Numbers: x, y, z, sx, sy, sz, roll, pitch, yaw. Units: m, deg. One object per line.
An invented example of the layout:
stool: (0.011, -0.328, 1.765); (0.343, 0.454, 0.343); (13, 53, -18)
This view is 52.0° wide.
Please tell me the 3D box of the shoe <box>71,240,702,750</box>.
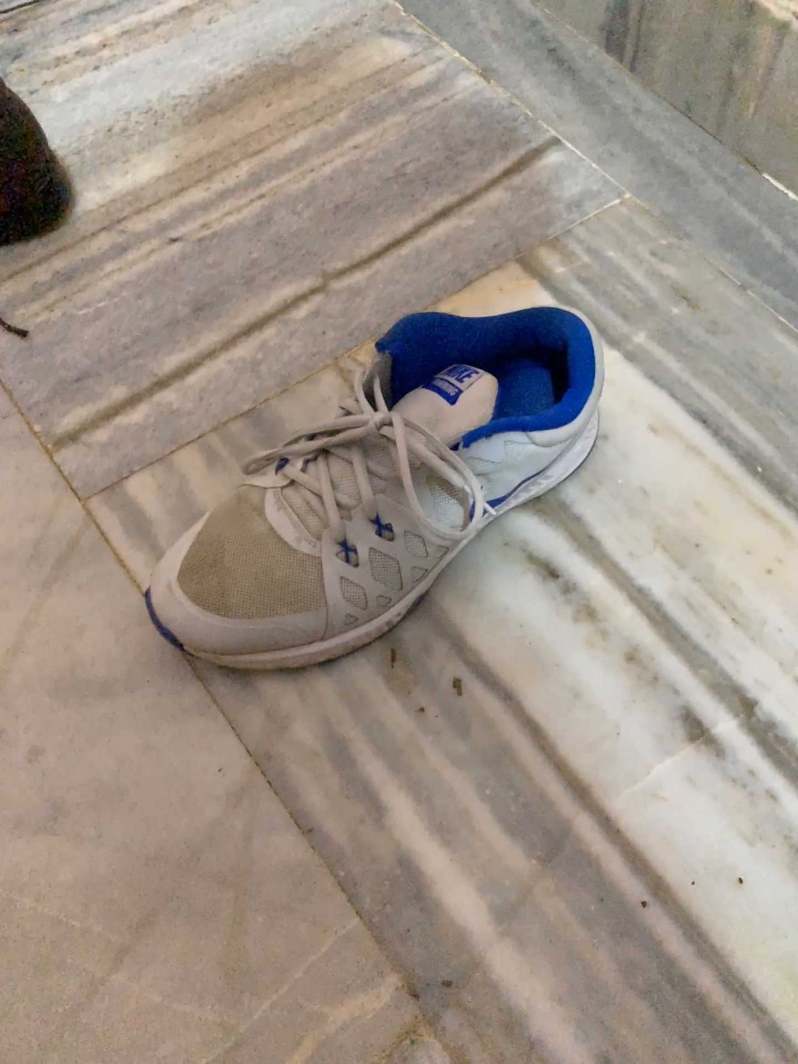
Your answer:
shoe: (0.000, -0.026, 0.449); (0.299, 0.100, 0.116); (-32, 69, -16)
